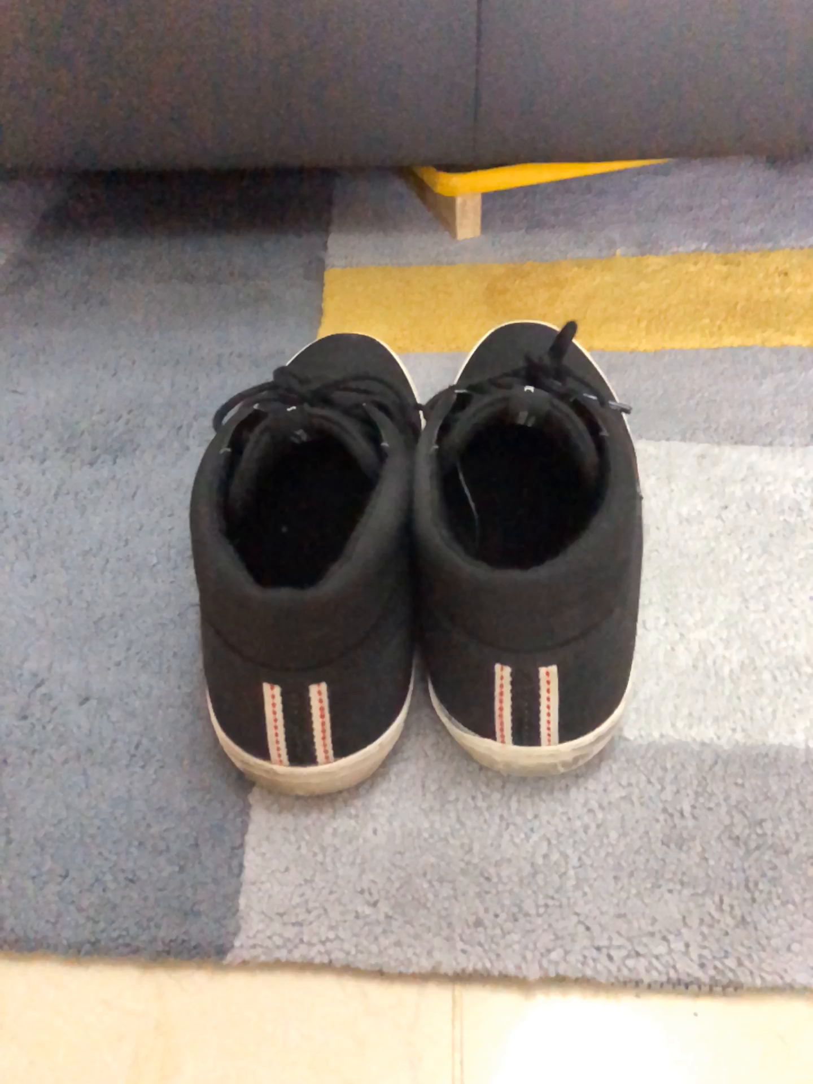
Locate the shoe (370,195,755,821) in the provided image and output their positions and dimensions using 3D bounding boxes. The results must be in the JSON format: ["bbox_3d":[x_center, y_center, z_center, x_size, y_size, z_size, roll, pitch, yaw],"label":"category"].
[{"bbox_3d":[0.058,-0.038,0.406,0.110,0.129,0.282,2,42,5],"label":"shoe"}]

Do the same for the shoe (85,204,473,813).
[{"bbox_3d":[-0.036,-0.038,0.395,0.110,0.109,0.282,-2,42,1],"label":"shoe"}]
